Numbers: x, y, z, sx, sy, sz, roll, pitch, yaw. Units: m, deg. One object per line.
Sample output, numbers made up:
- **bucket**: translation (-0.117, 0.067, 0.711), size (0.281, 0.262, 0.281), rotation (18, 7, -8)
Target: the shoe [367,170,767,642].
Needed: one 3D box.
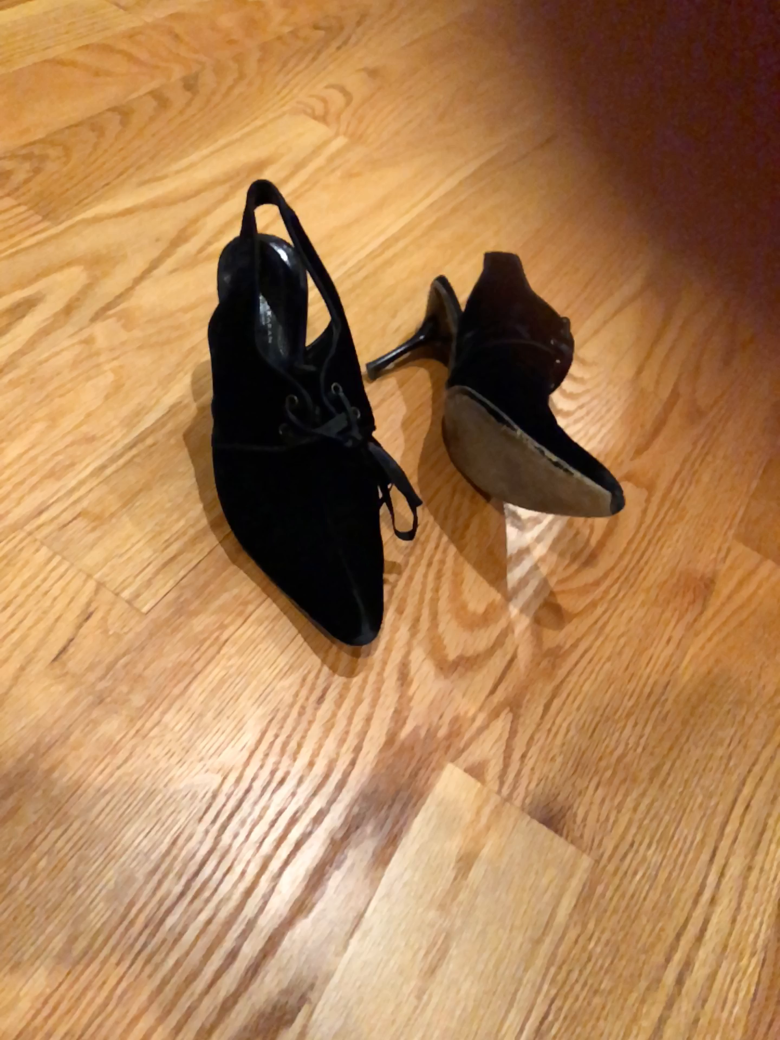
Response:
- **shoe**: translation (0.077, -0.073, 0.485), size (0.118, 0.107, 0.253), rotation (-2, 53, -17)

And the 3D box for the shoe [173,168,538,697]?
- **shoe**: translation (-0.038, -0.057, 0.451), size (0.107, 0.117, 0.253), rotation (-6, 54, -21)
